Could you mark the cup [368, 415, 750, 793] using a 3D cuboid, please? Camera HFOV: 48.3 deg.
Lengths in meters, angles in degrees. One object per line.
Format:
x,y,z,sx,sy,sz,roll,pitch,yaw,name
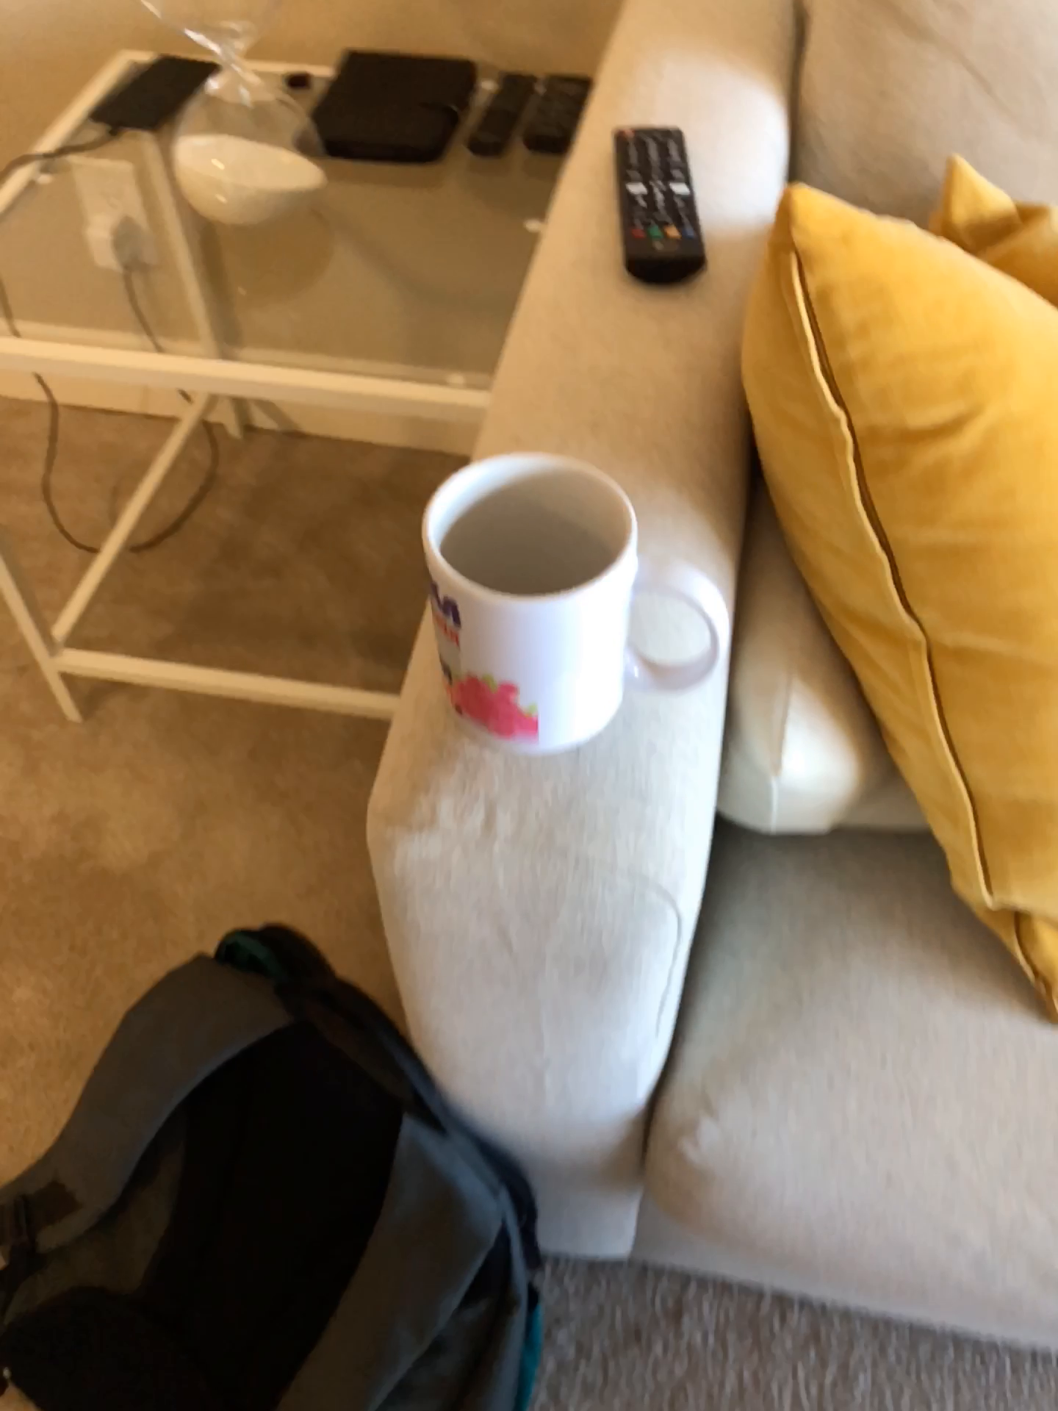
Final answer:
0.014,-0.039,0.460,0.120,0.100,0.080,12,52,10,cup
